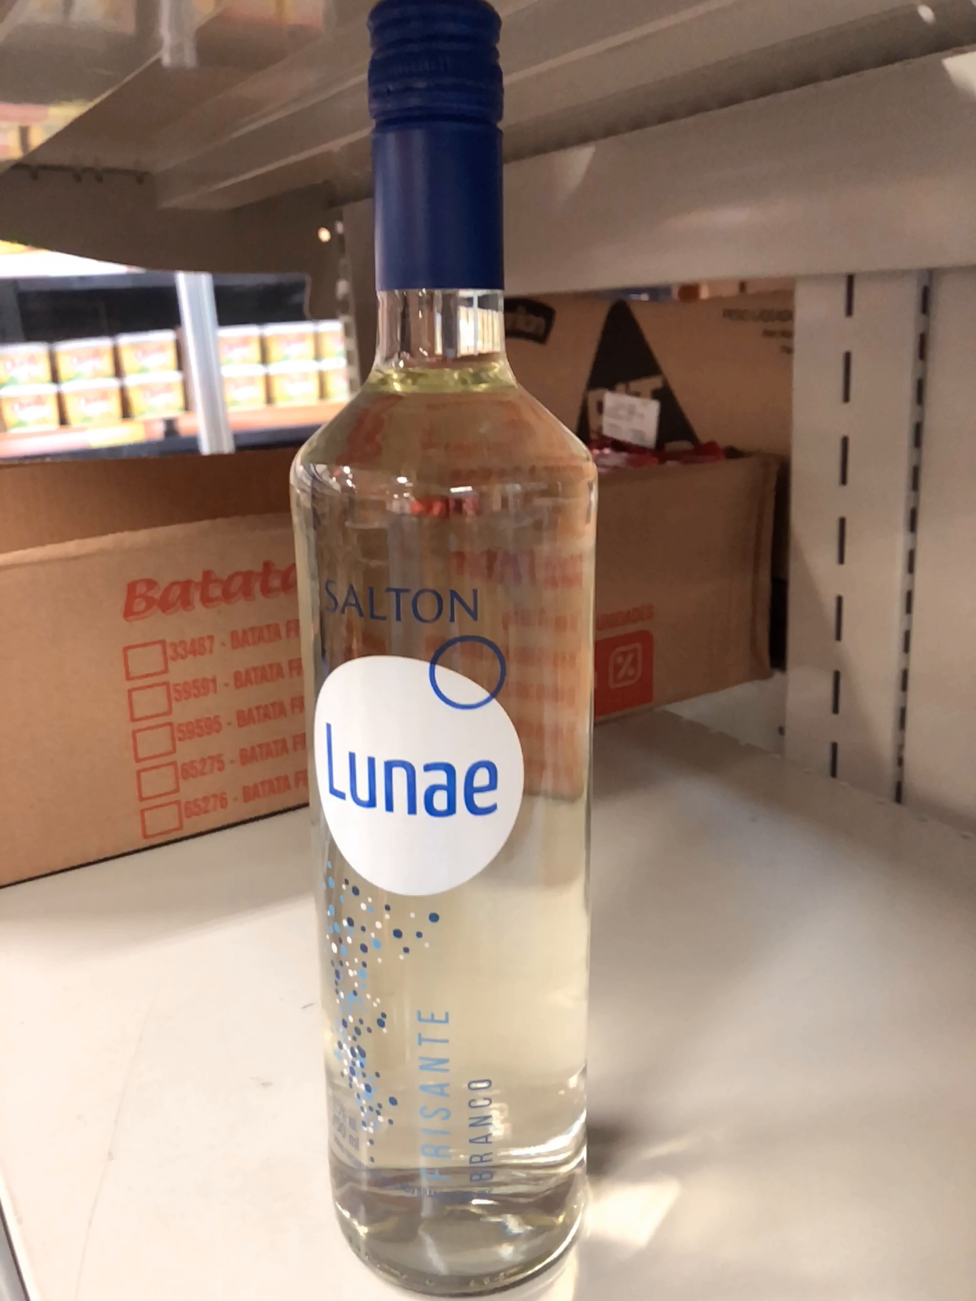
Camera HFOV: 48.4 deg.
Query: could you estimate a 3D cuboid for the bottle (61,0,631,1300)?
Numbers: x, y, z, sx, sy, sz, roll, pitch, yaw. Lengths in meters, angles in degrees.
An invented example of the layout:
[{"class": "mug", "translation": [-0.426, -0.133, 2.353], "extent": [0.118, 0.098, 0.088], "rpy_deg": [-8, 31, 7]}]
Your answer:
[{"class": "bottle", "translation": [-0.018, 0.015, 0.269], "extent": [0.080, 0.308, 0.080], "rpy_deg": [-4, 17, 1]}]
